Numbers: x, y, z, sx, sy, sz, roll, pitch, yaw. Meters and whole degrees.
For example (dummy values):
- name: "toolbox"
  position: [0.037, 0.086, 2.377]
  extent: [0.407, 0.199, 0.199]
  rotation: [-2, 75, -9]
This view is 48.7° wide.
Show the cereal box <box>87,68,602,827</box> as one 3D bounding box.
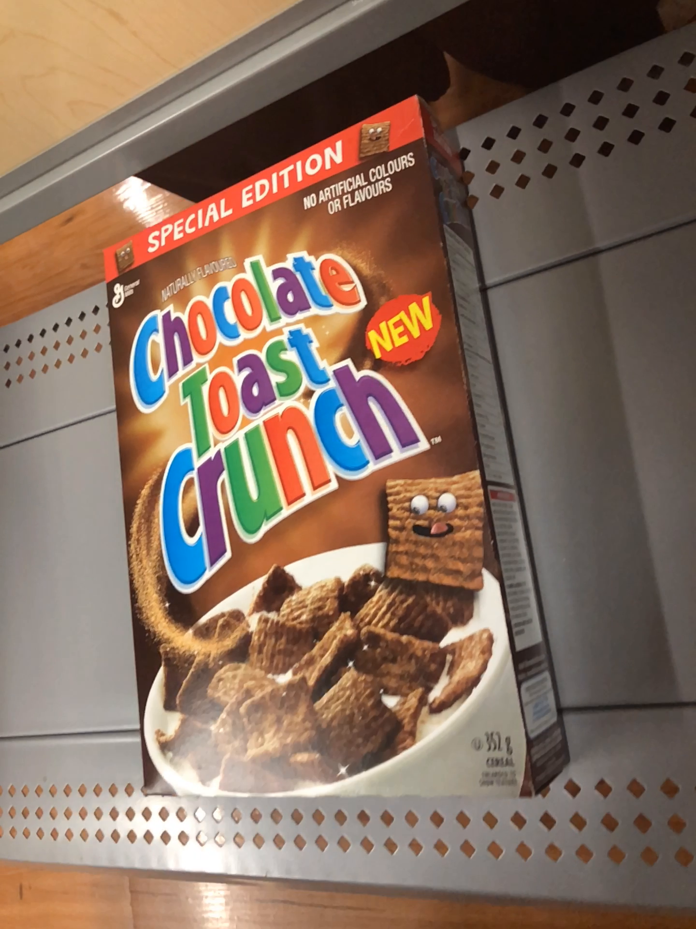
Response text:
- name: "cereal box"
  position: [-0.015, 0.004, 0.371]
  extent: [0.201, 0.090, 0.290]
  rotation: [-13, 76, 29]
